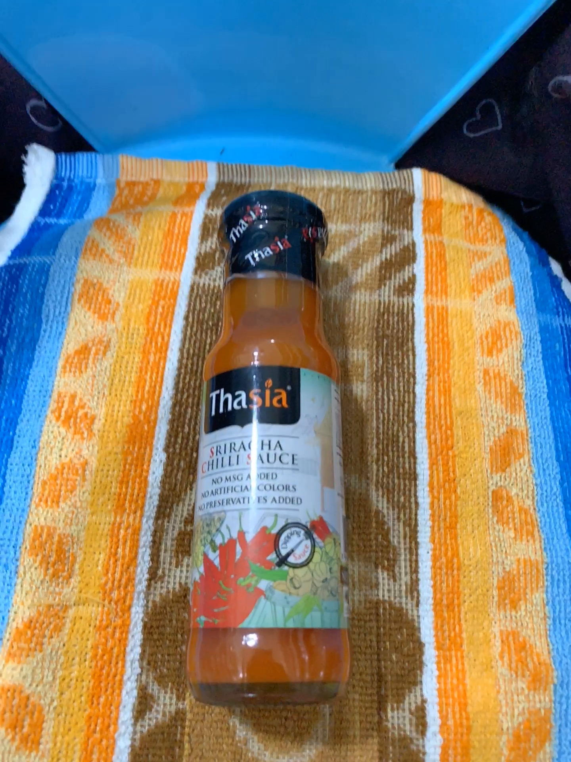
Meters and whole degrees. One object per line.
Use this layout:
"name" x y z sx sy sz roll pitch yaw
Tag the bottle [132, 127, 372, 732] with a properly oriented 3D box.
"bottle" -0.004 0.006 0.192 0.050 0.050 0.180 -5 63 12
